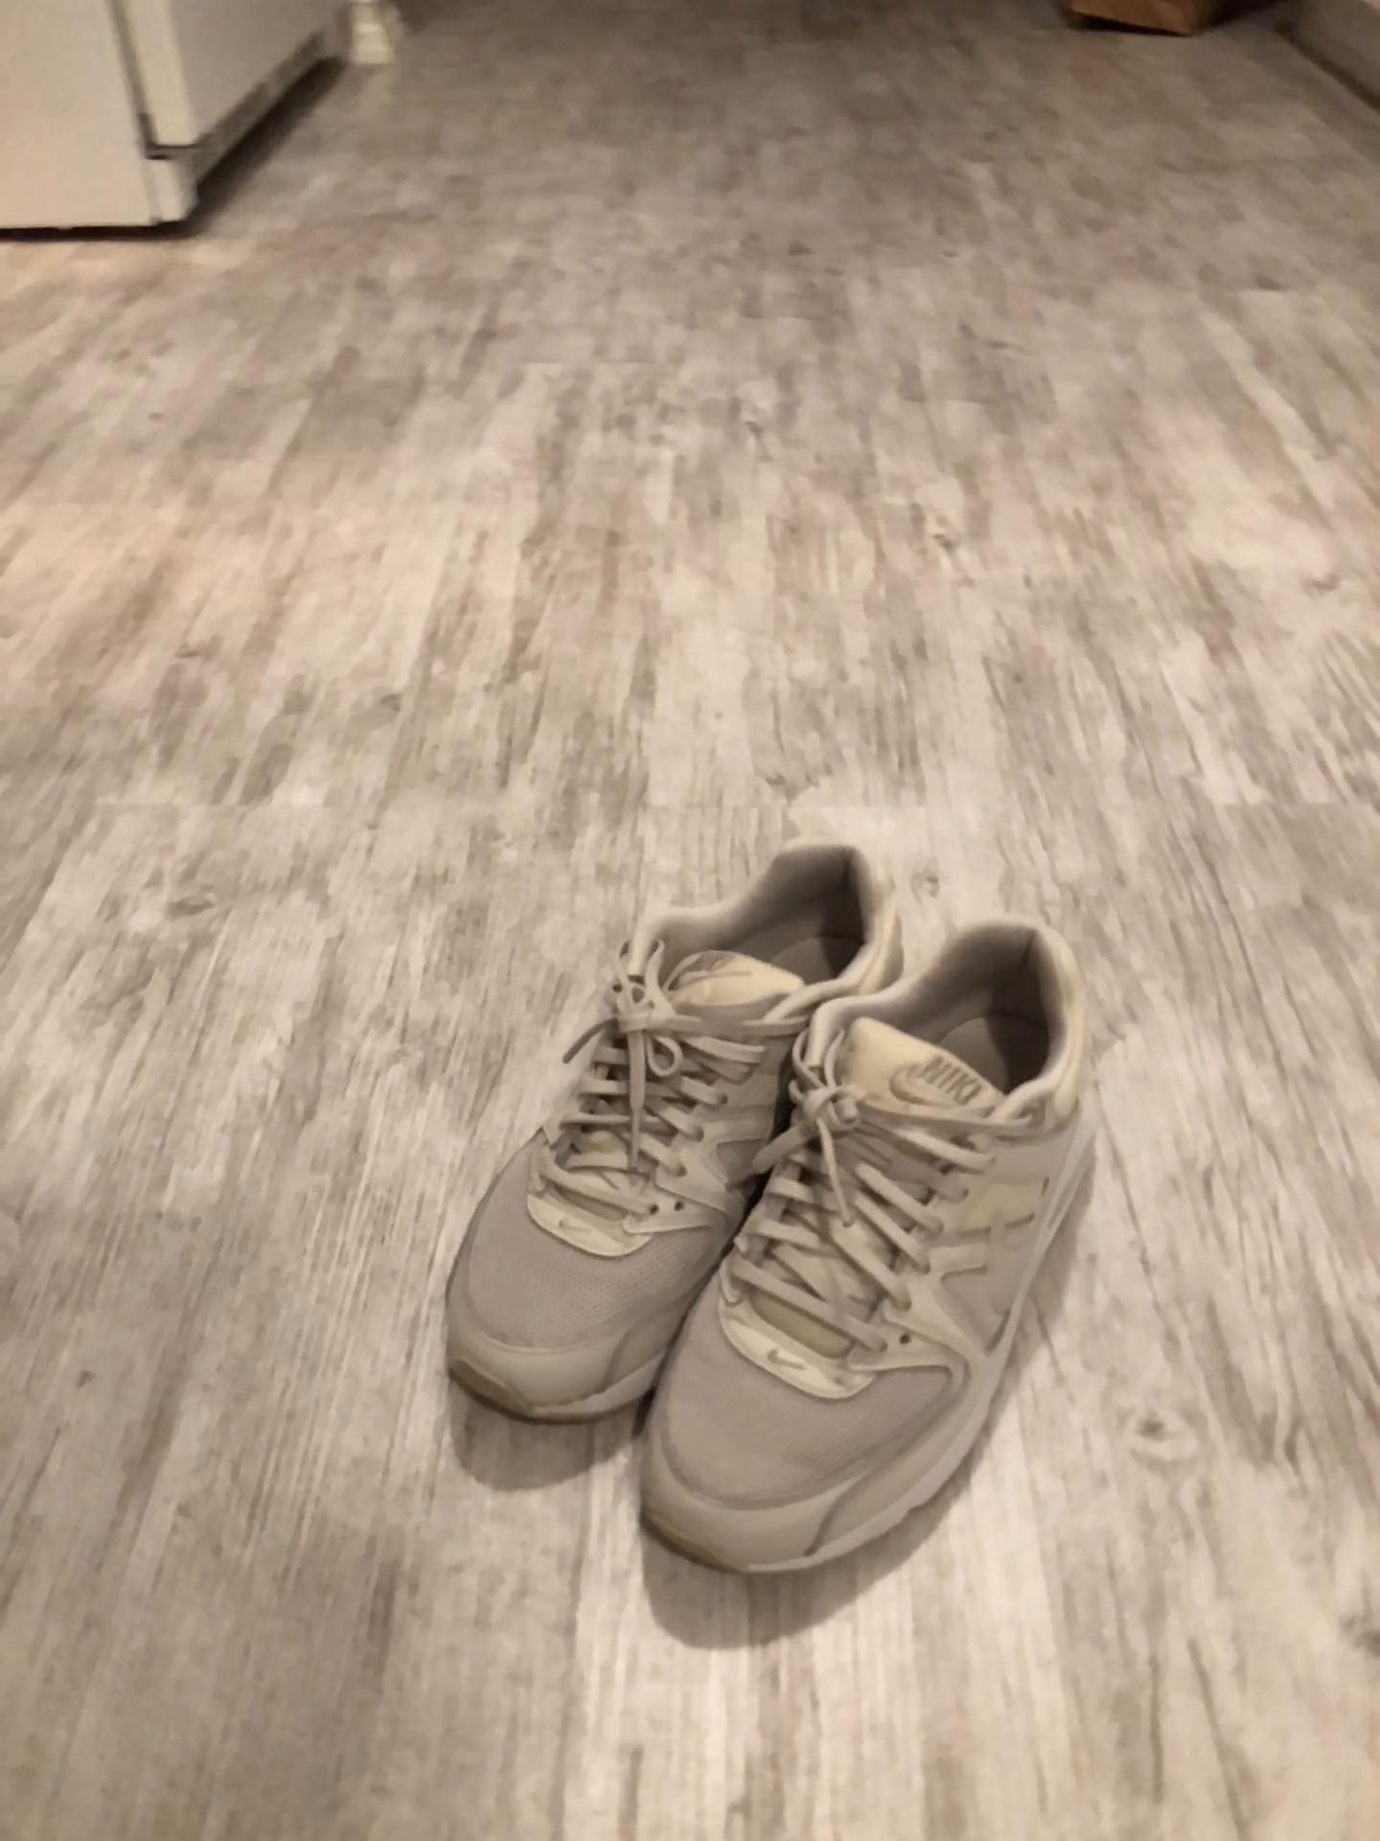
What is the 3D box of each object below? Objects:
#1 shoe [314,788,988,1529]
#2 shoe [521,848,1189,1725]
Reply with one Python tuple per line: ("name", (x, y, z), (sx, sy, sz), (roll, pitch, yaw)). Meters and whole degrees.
("shoe", (0.000, 0.074, 0.554), (0.090, 0.120, 0.250), (27, 48, 31))
("shoe", (0.066, 0.105, 0.504), (0.100, 0.120, 0.250), (21, 46, 26))
